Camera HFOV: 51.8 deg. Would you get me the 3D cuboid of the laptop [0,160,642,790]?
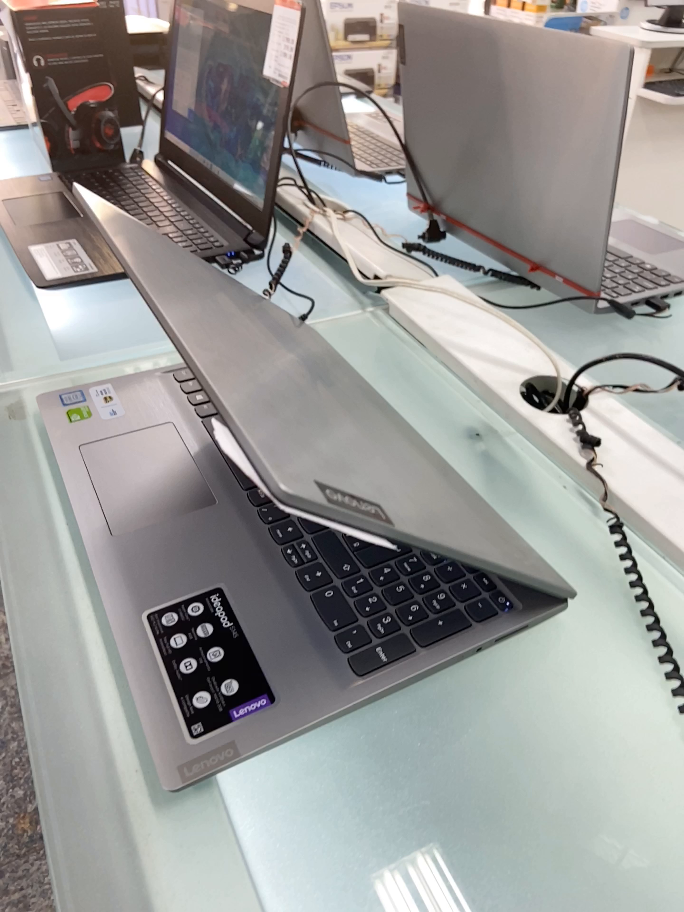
[{"bbox_3d":[-0.058,-0.042,0.449,0.246,0.160,0.363,-18,42,-22],"label":"laptop"}]
